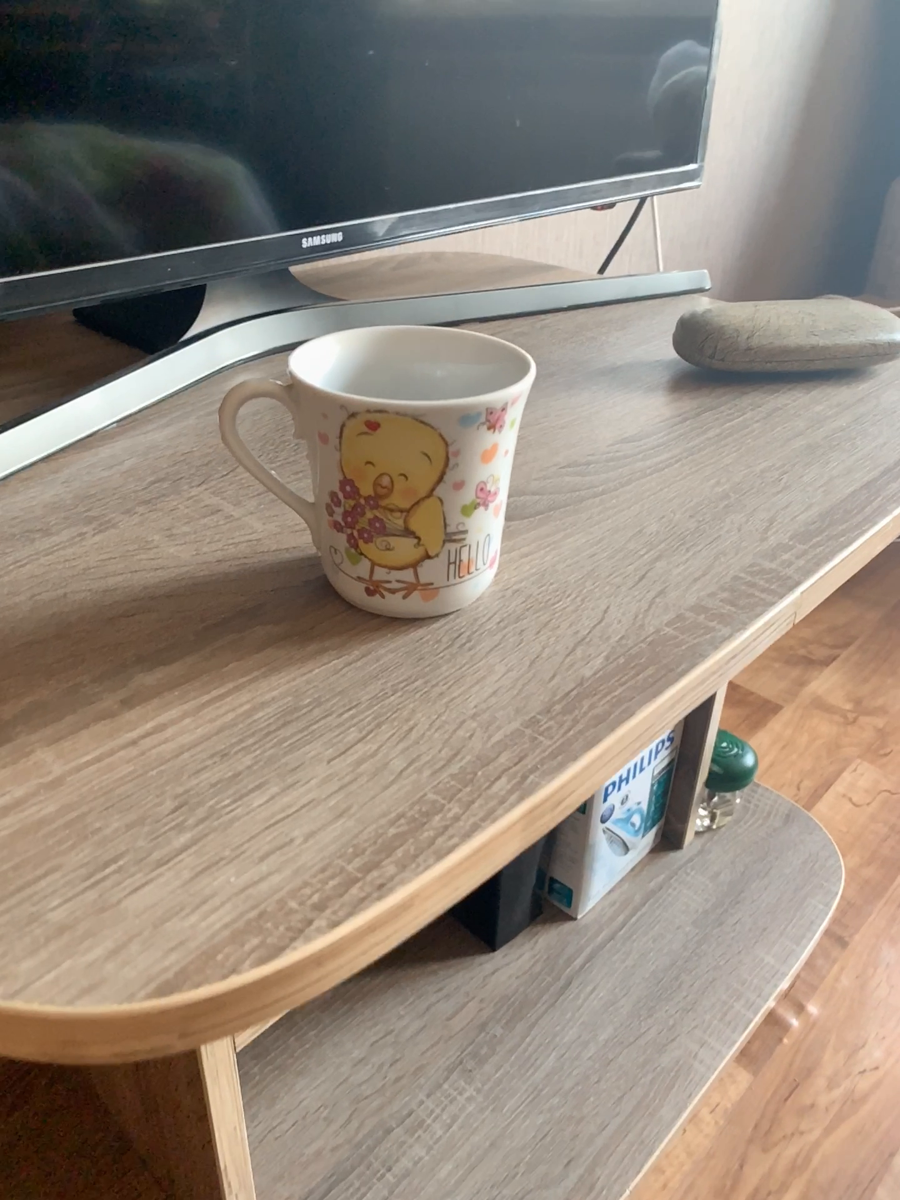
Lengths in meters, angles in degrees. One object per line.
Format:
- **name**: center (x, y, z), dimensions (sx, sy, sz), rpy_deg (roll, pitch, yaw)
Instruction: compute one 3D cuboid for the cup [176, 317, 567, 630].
- **cup**: center (-0.026, -0.045, 0.310), dimensions (0.110, 0.080, 0.070), rpy_deg (-3, 31, -8)
